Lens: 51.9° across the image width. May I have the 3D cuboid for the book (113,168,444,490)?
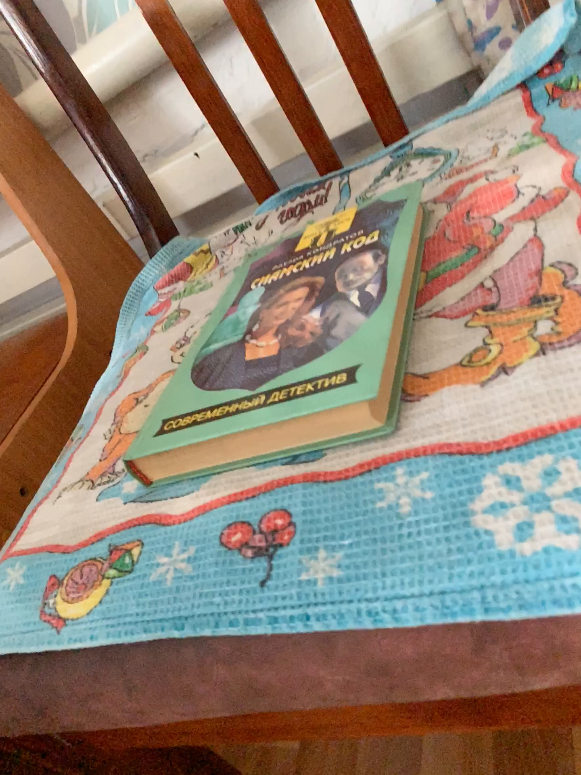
[{"bbox_3d":[0.005,-0.040,0.322,0.140,0.023,0.201,-16,34,30],"label":"book"}]
